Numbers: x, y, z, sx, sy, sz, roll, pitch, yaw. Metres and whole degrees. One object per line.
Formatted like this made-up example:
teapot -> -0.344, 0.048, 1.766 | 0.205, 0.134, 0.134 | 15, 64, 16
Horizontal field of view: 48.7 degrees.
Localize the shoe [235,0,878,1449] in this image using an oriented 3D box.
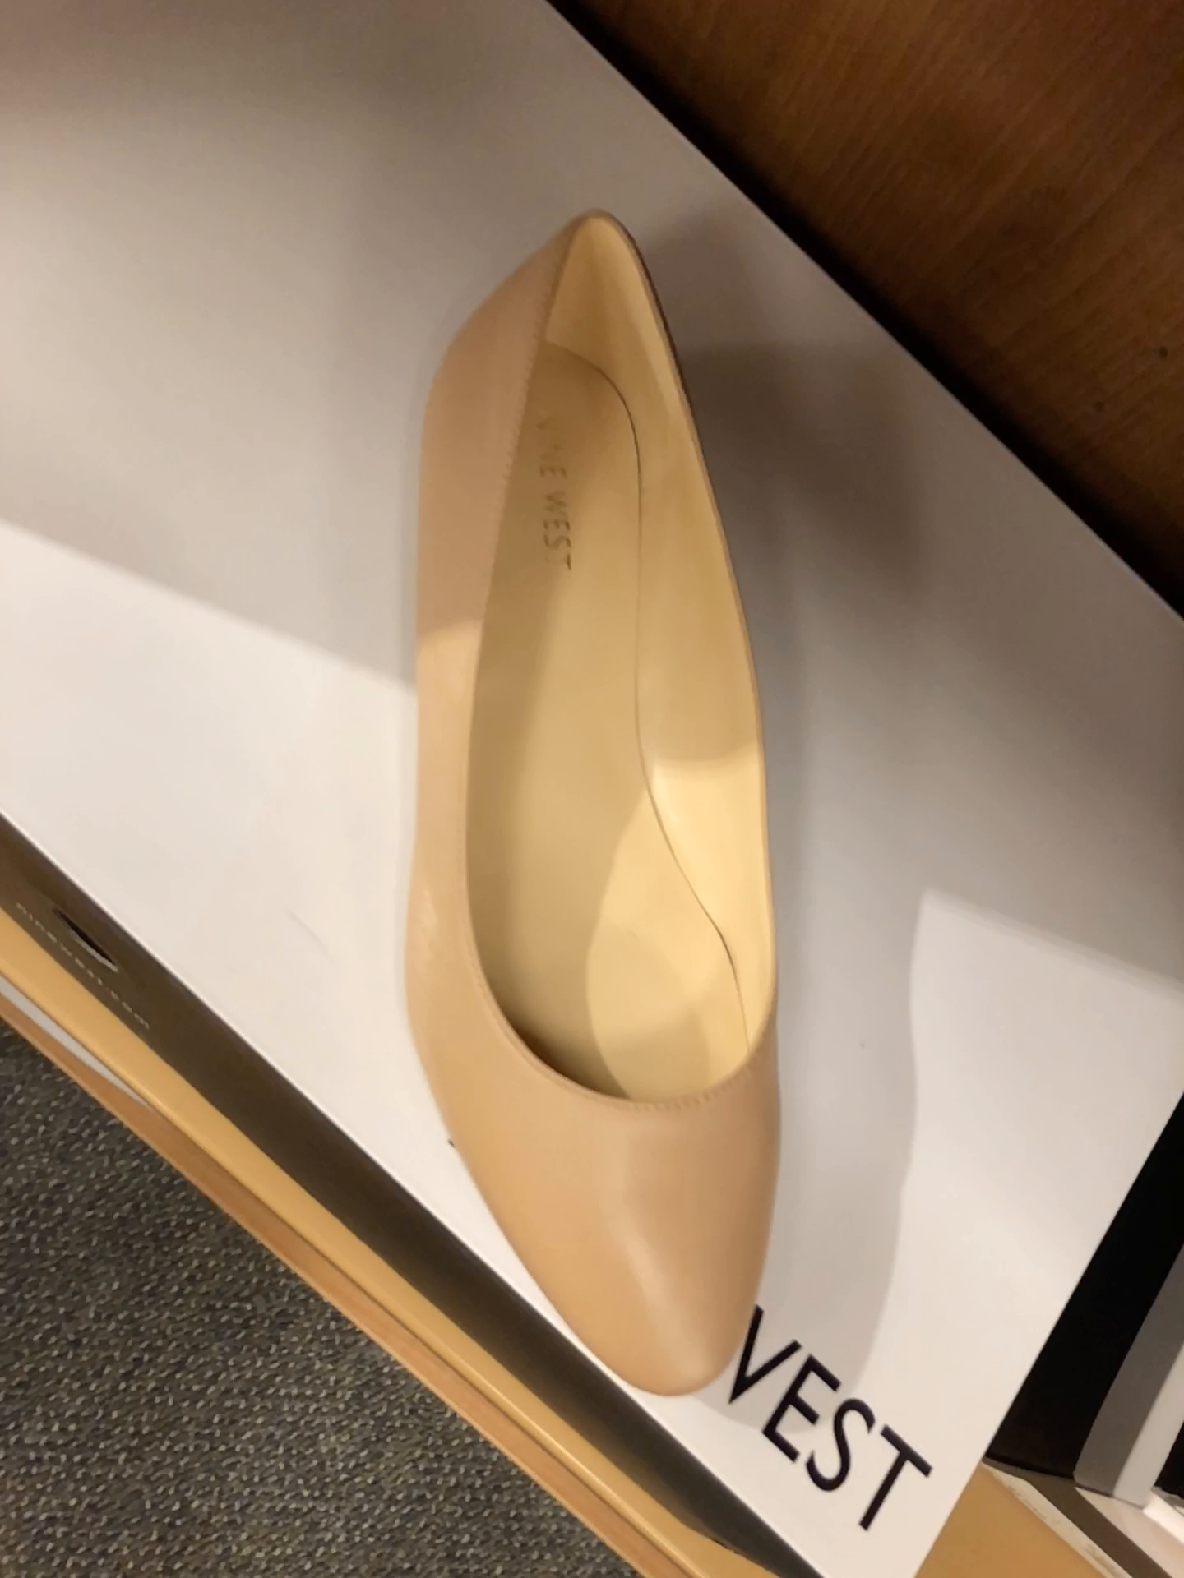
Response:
shoe -> -0.017, -0.023, 0.276 | 0.082, 0.070, 0.270 | -6, 81, -18
